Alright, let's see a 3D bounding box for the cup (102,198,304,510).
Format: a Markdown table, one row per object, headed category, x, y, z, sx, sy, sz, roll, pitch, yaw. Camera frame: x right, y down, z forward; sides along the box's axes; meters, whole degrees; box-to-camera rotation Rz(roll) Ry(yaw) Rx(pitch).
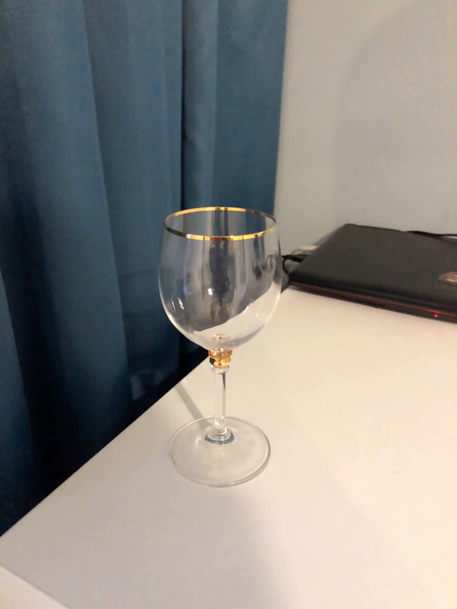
| category | x | y | z | sx | sy | sz | roll | pitch | yaw |
| --- | --- | --- | --- | --- | --- | --- | --- | --- | --- |
| cup | -0.021 | 0.026 | 0.360 | 0.100 | 0.179 | 0.100 | 0 | 22 | 0 |
